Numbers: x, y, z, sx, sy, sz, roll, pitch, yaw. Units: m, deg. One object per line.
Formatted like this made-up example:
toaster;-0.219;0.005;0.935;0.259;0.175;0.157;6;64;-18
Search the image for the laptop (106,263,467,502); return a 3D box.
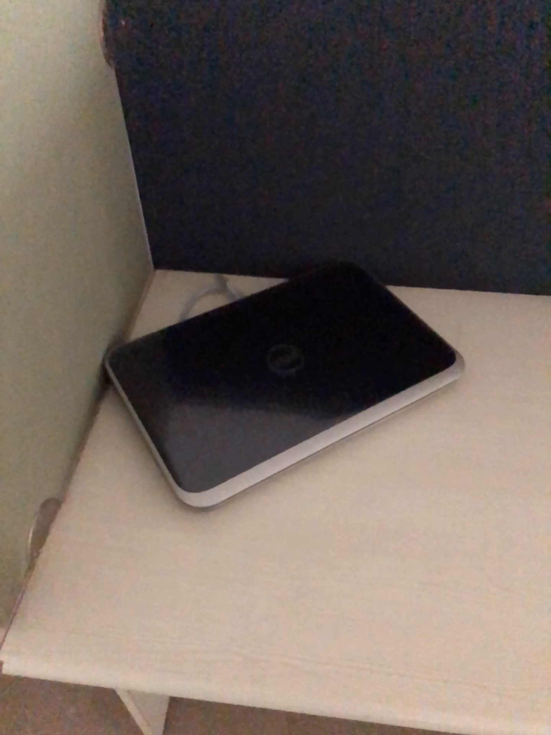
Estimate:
laptop;0.008;-0.005;0.773;0.372;0.010;0.246;-24;51;-17
